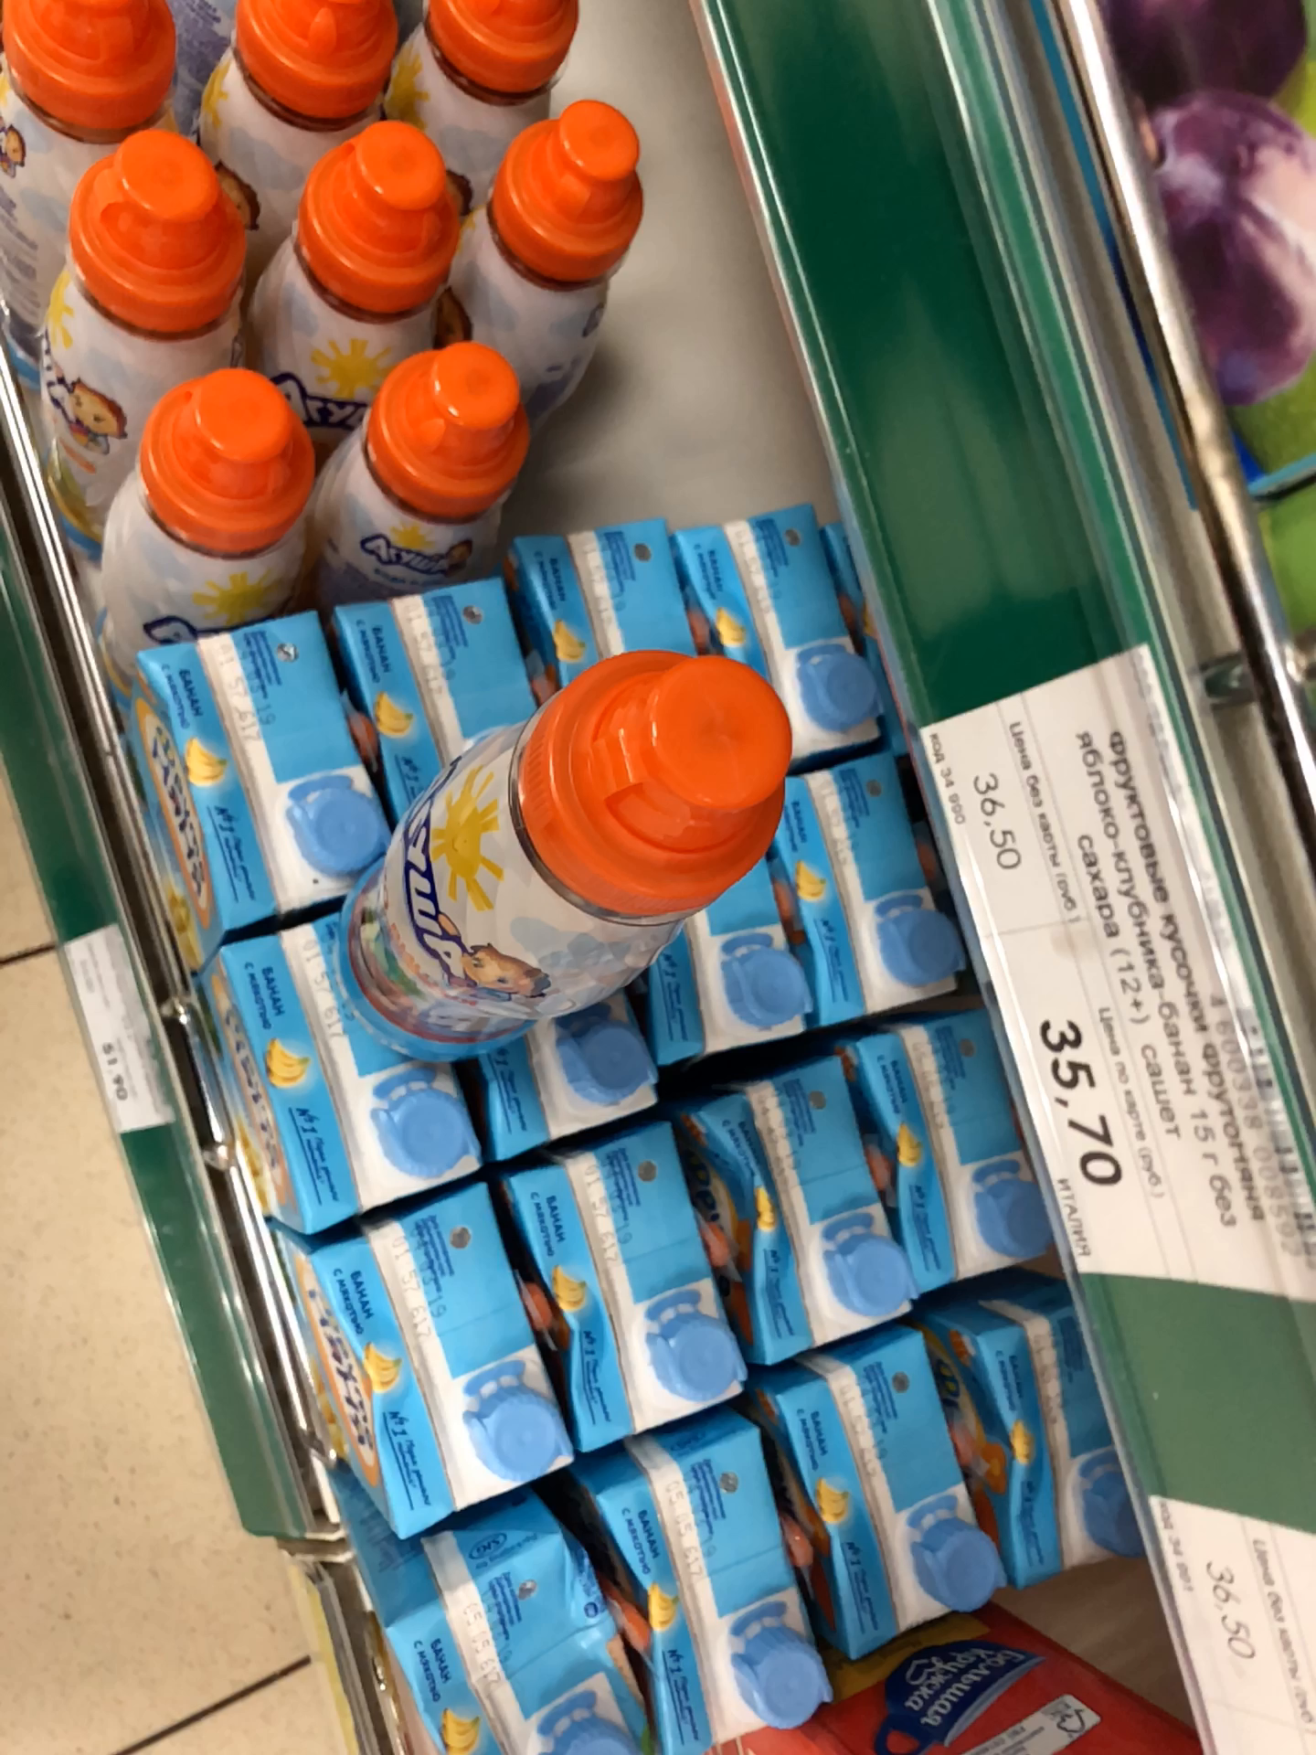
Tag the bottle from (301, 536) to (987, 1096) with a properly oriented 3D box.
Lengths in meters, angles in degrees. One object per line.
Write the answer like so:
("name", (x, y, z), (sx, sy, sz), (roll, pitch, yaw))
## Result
("bottle", (-0.021, 0.002, 0.293), (0.056, 0.191, 0.054), (5, 76, -22))
